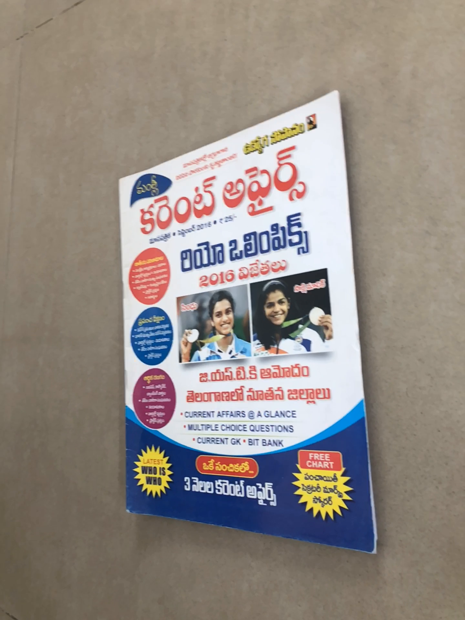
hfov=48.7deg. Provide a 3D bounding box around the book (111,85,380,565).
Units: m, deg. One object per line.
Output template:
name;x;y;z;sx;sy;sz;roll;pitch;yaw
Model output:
book;-0.010;0.012;0.342;0.201;0.010;0.260;-8;81;38
